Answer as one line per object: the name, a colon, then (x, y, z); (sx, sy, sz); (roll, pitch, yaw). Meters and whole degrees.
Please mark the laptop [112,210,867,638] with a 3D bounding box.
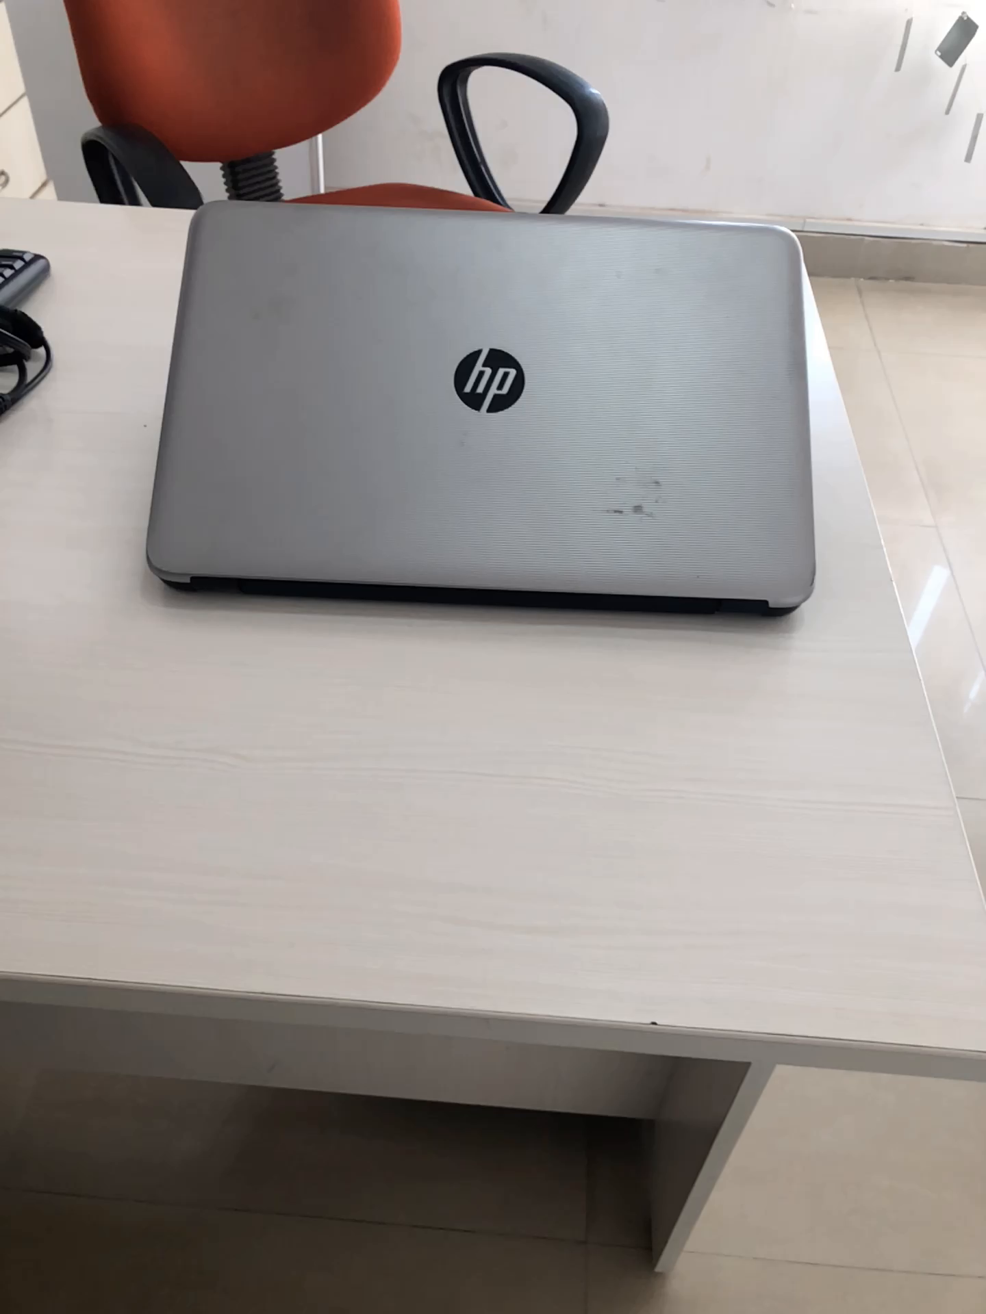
laptop: (-0.003, -0.151, 0.658); (0.369, 0.120, 0.253); (2, 46, 1)
